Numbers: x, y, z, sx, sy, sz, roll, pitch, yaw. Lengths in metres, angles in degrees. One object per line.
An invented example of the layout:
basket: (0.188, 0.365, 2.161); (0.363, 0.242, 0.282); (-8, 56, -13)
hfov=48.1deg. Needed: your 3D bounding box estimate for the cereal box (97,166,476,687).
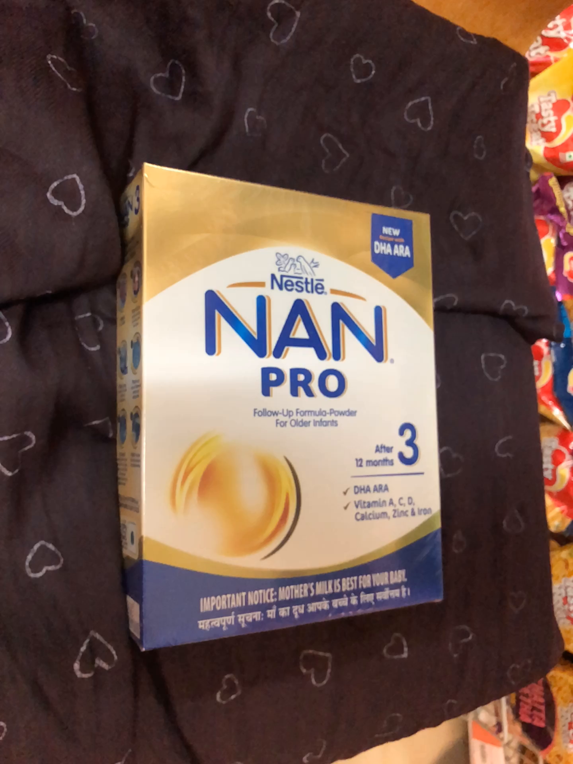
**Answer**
cereal box: (0.001, 0.018, 0.303); (0.160, 0.070, 0.190); (2, 85, -28)
